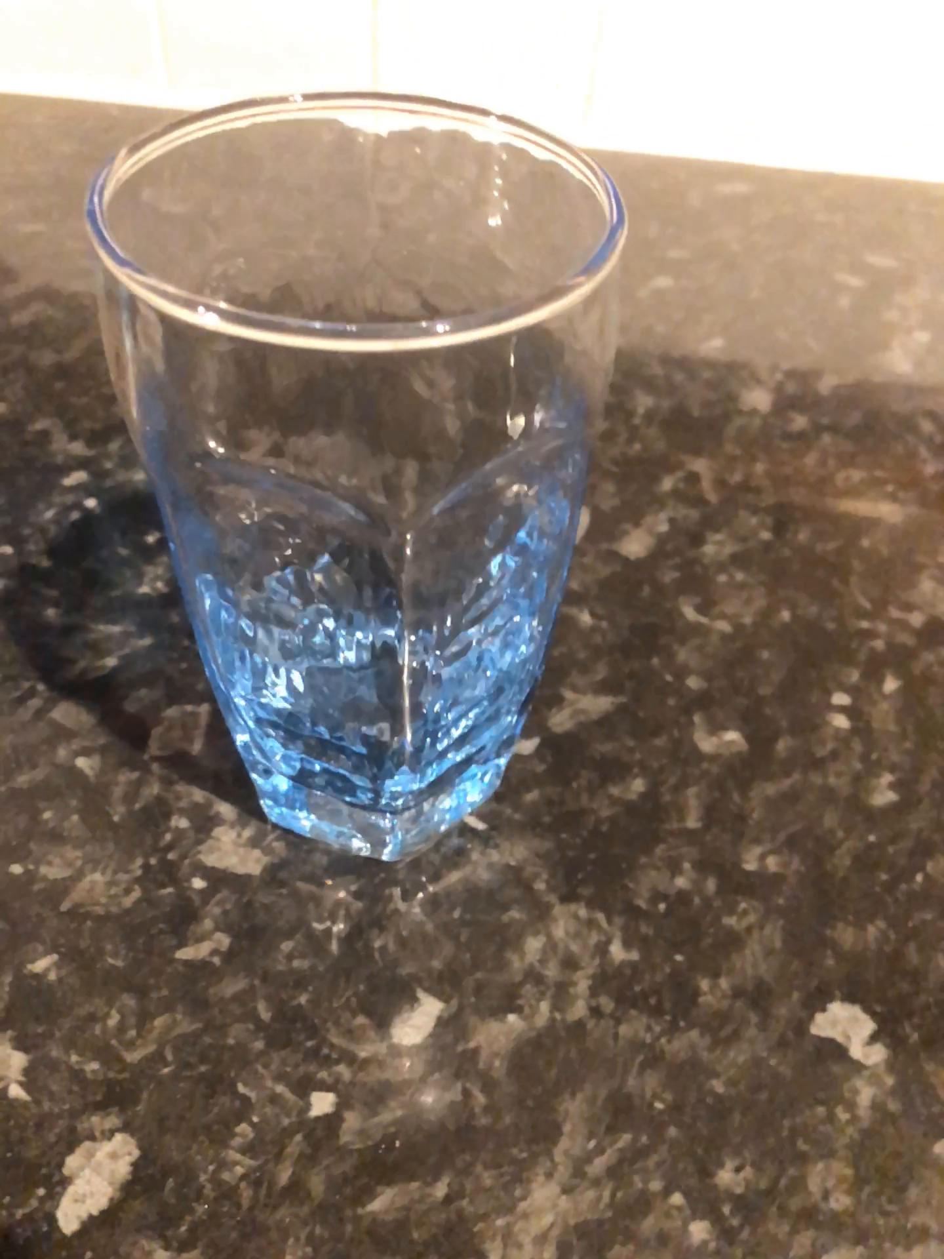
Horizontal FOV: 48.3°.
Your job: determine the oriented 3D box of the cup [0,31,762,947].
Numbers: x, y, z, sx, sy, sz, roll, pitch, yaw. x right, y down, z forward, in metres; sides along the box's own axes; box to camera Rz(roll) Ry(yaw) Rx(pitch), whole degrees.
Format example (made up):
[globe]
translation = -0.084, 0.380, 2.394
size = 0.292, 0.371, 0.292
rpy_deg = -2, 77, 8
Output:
[cup]
translation = -0.019, -0.021, 0.180
size = 0.080, 0.119, 0.070
rpy_deg = -20, 51, -22
